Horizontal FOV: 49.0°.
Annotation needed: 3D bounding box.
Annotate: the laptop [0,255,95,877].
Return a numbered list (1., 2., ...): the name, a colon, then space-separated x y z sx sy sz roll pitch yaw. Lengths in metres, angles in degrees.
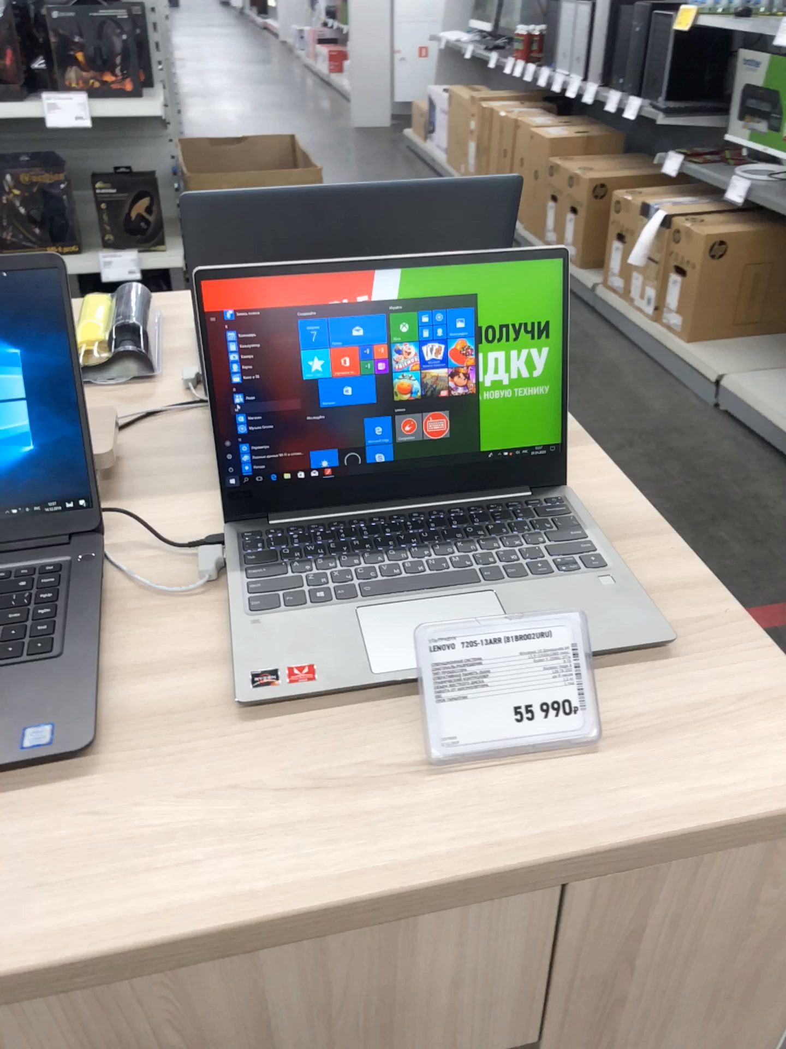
1. laptop: -0.395 -0.017 0.557 0.344 0.188 0.341 -8 34 -12

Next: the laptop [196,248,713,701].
1. laptop: 0.017 -0.057 0.622 0.285 0.187 0.263 -7 34 -10
